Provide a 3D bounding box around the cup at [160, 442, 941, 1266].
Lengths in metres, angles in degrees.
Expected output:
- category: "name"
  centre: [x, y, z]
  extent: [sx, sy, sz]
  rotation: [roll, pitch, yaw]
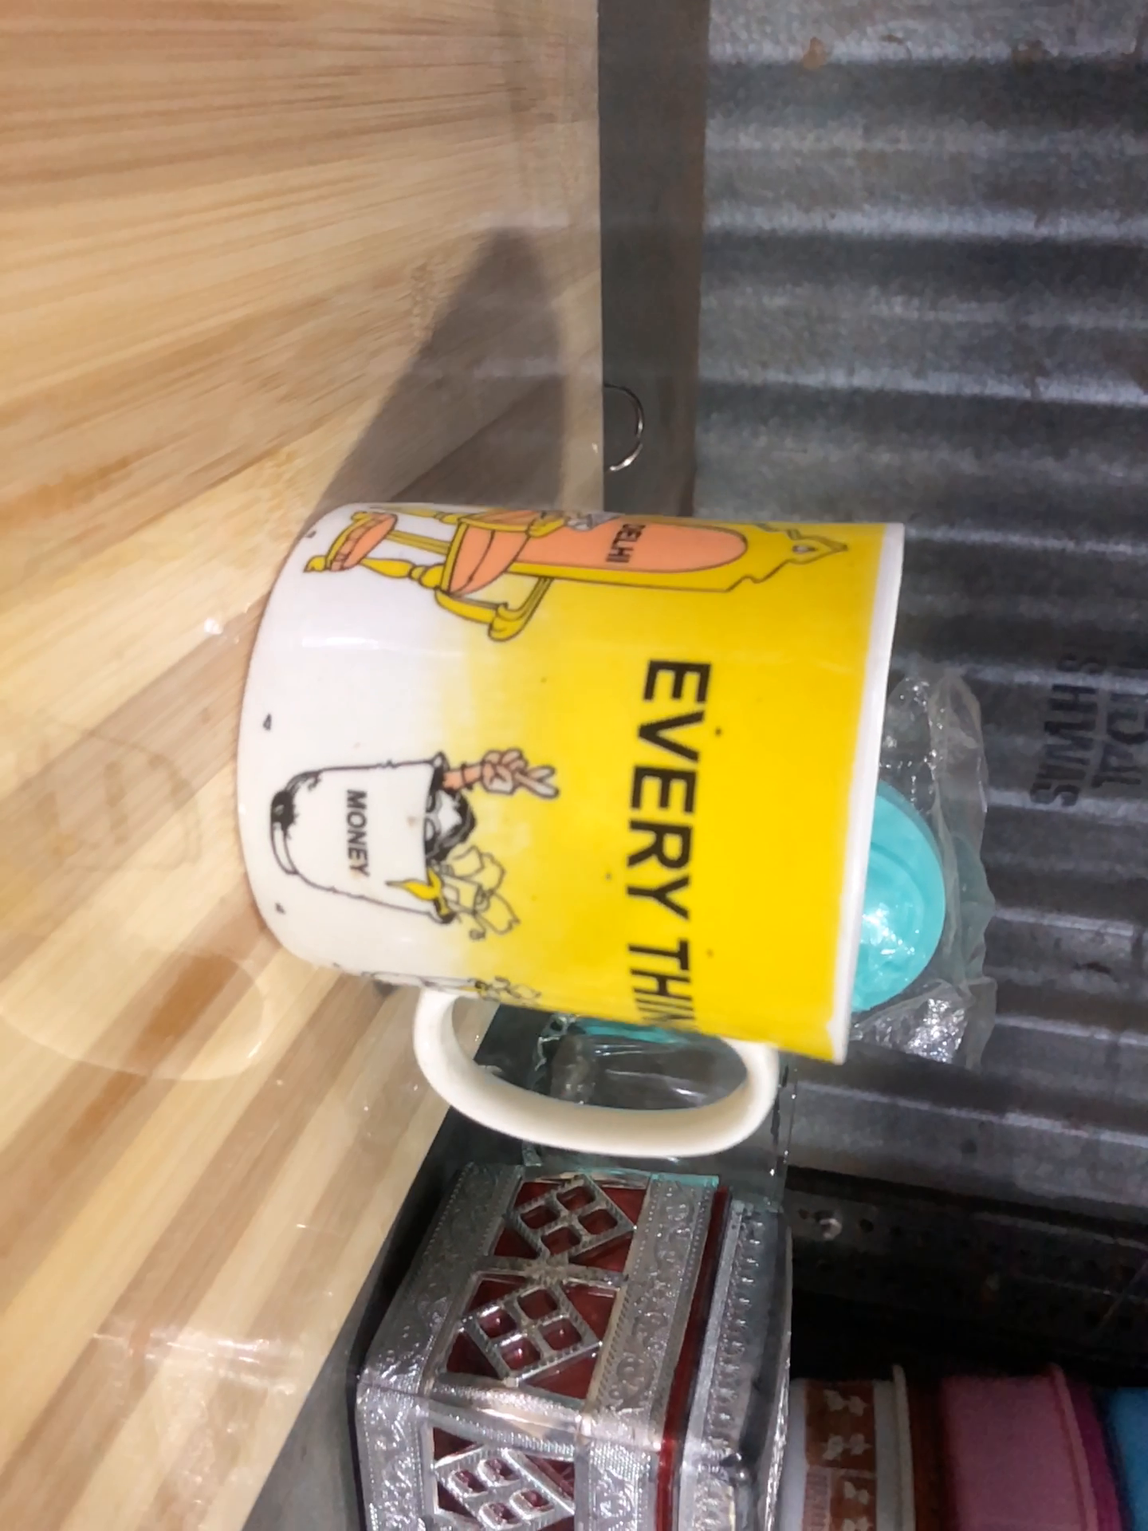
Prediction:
- category: "cup"
  centre: [0.004, 0.013, 0.219]
  extent: [0.070, 0.100, 0.110]
  rotation: [-68, 160, -53]
